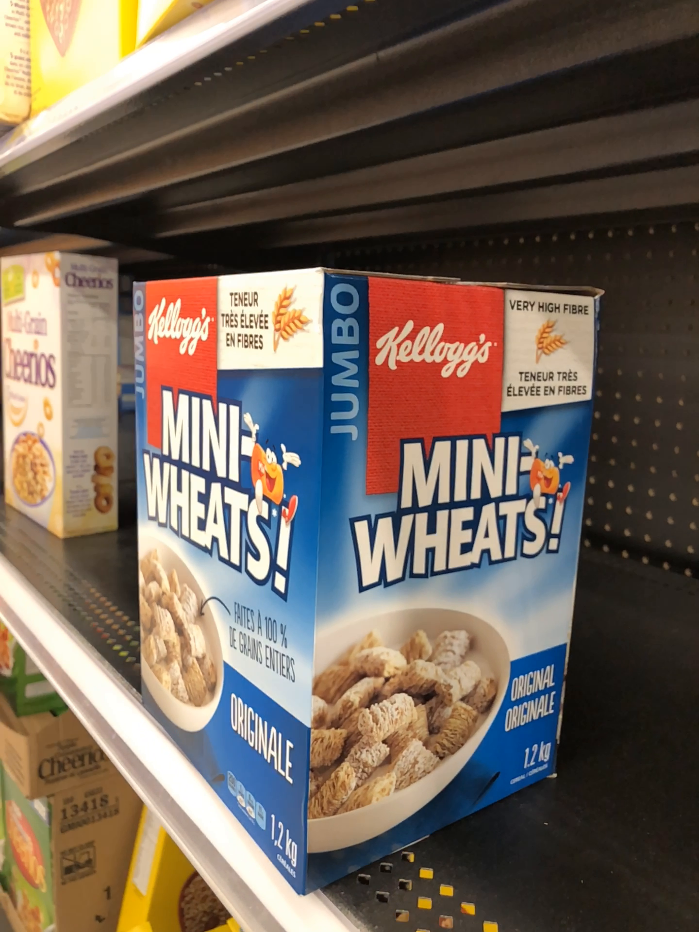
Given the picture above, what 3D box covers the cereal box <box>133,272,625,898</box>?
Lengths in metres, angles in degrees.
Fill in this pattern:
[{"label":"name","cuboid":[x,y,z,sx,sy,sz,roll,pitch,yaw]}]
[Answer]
[{"label":"cereal box","cuboid":[0.001,0.030,0.426,0.170,0.249,0.200,-5,12,-35]}]
